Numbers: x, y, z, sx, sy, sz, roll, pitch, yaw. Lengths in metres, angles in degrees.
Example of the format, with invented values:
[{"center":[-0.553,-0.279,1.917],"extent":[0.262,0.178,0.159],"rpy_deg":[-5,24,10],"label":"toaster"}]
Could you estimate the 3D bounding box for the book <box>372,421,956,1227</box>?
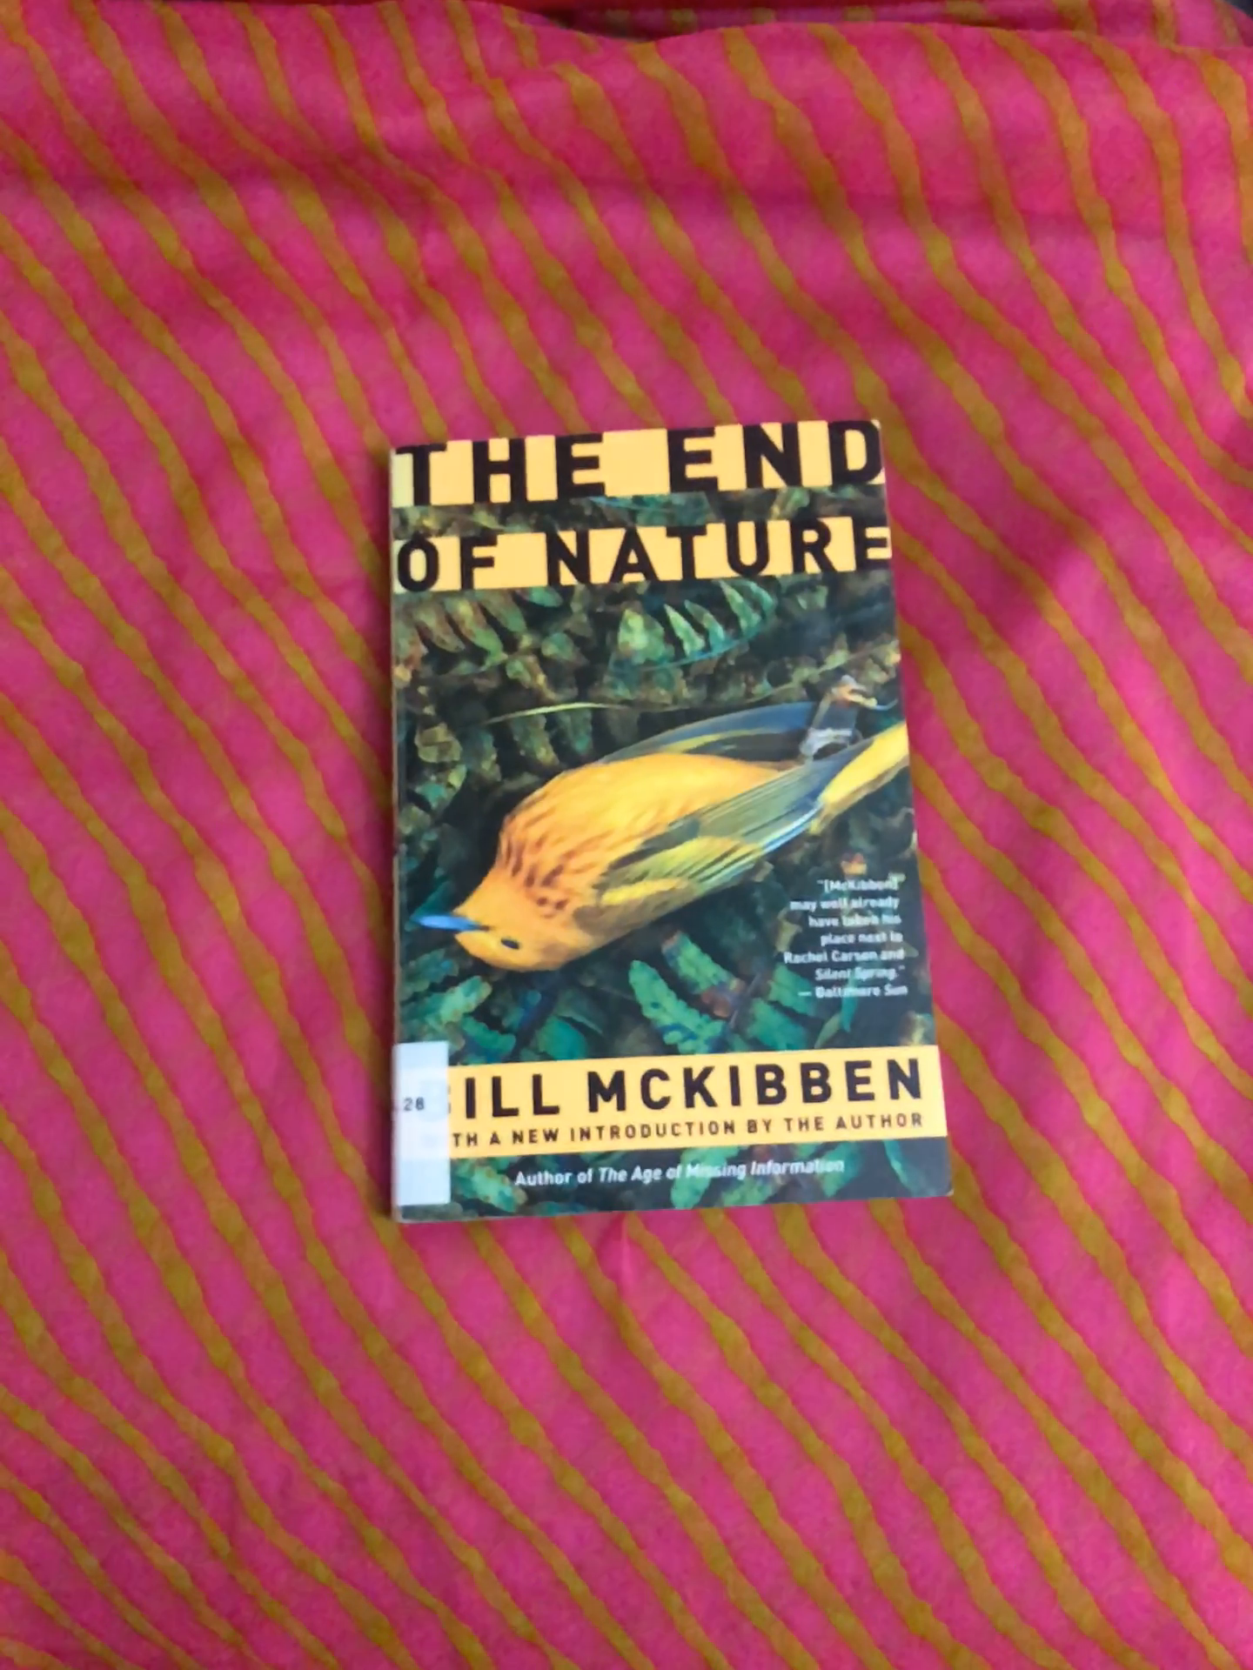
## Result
[{"center":[0.006,-0.007,0.346],"extent":[0.131,0.020,0.194],"rpy_deg":[-2,79,-4],"label":"book"}]
